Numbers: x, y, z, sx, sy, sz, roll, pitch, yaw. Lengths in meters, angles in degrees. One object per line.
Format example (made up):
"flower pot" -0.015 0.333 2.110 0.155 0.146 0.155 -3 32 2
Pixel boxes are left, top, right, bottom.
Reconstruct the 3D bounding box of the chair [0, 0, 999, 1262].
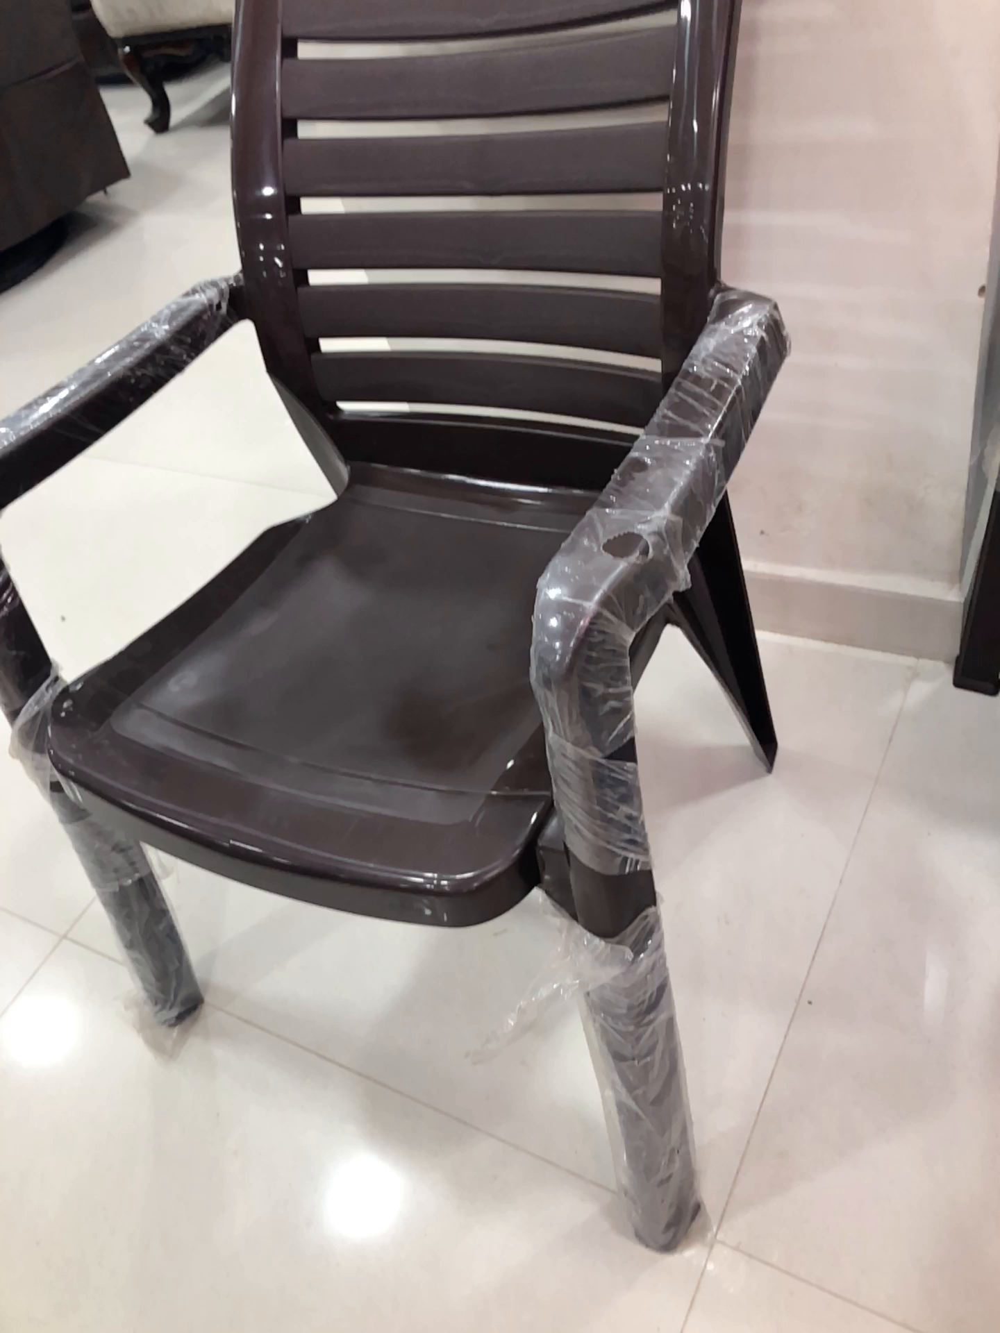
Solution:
"chair" -0.032 -0.143 0.920 0.640 1.004 0.674 12 51 28
